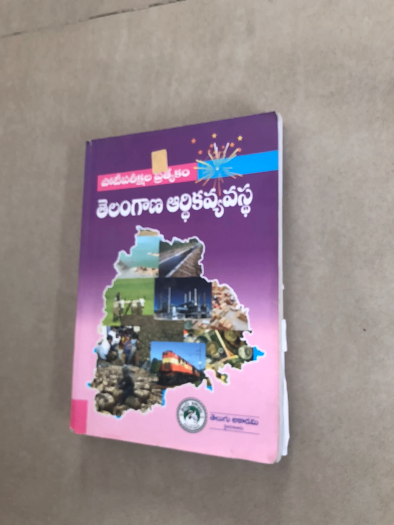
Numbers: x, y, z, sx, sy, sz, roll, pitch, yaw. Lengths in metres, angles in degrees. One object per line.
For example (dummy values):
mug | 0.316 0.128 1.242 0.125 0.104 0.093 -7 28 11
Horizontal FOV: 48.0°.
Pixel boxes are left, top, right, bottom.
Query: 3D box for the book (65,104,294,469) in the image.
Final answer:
book | -0.018 0.017 0.379 0.191 0.040 0.268 -1 85 22
